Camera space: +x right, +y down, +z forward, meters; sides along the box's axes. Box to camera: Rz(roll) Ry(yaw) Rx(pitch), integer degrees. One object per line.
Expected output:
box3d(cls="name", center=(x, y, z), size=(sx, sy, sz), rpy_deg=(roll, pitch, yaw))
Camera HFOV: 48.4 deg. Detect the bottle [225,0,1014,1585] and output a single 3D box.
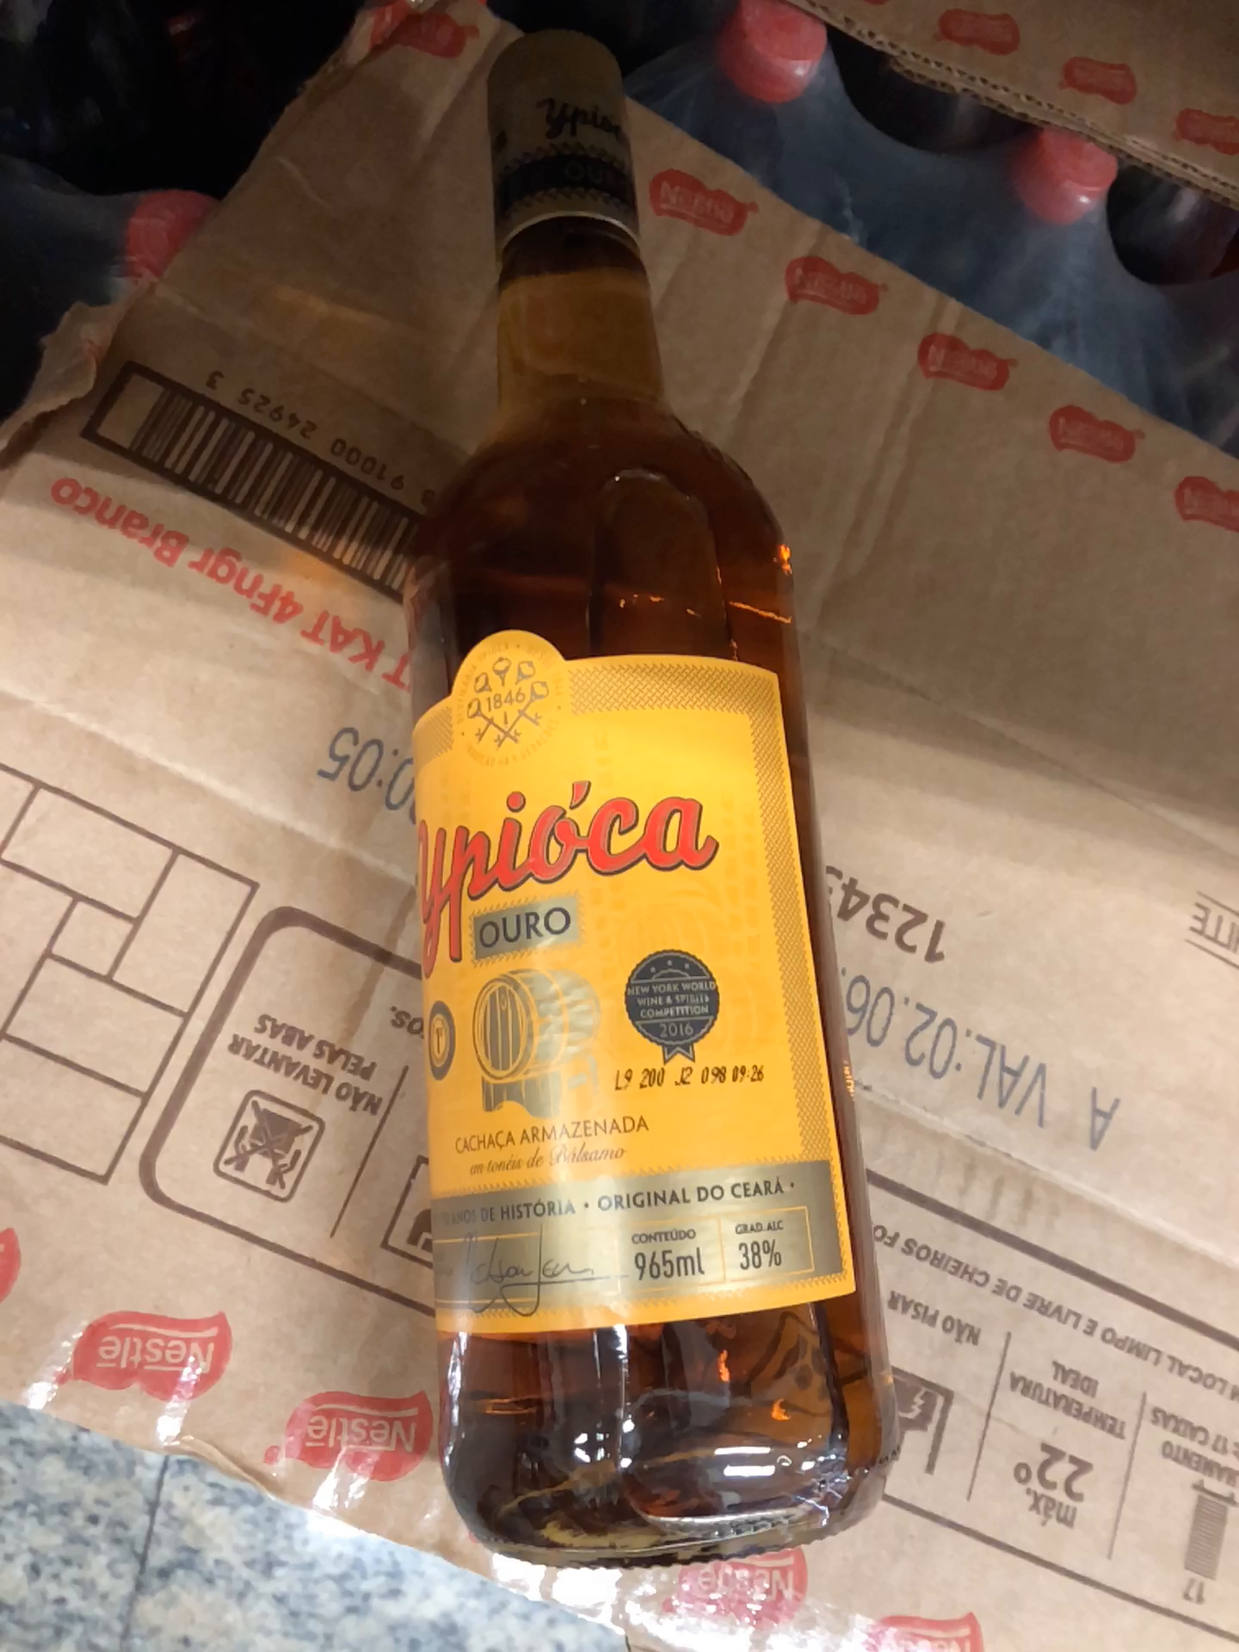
box3d(cls="bottle", center=(-0.006, -0.043, 0.262), size=(0.090, 0.080, 0.310), rpy_deg=(14, 66, -55))
